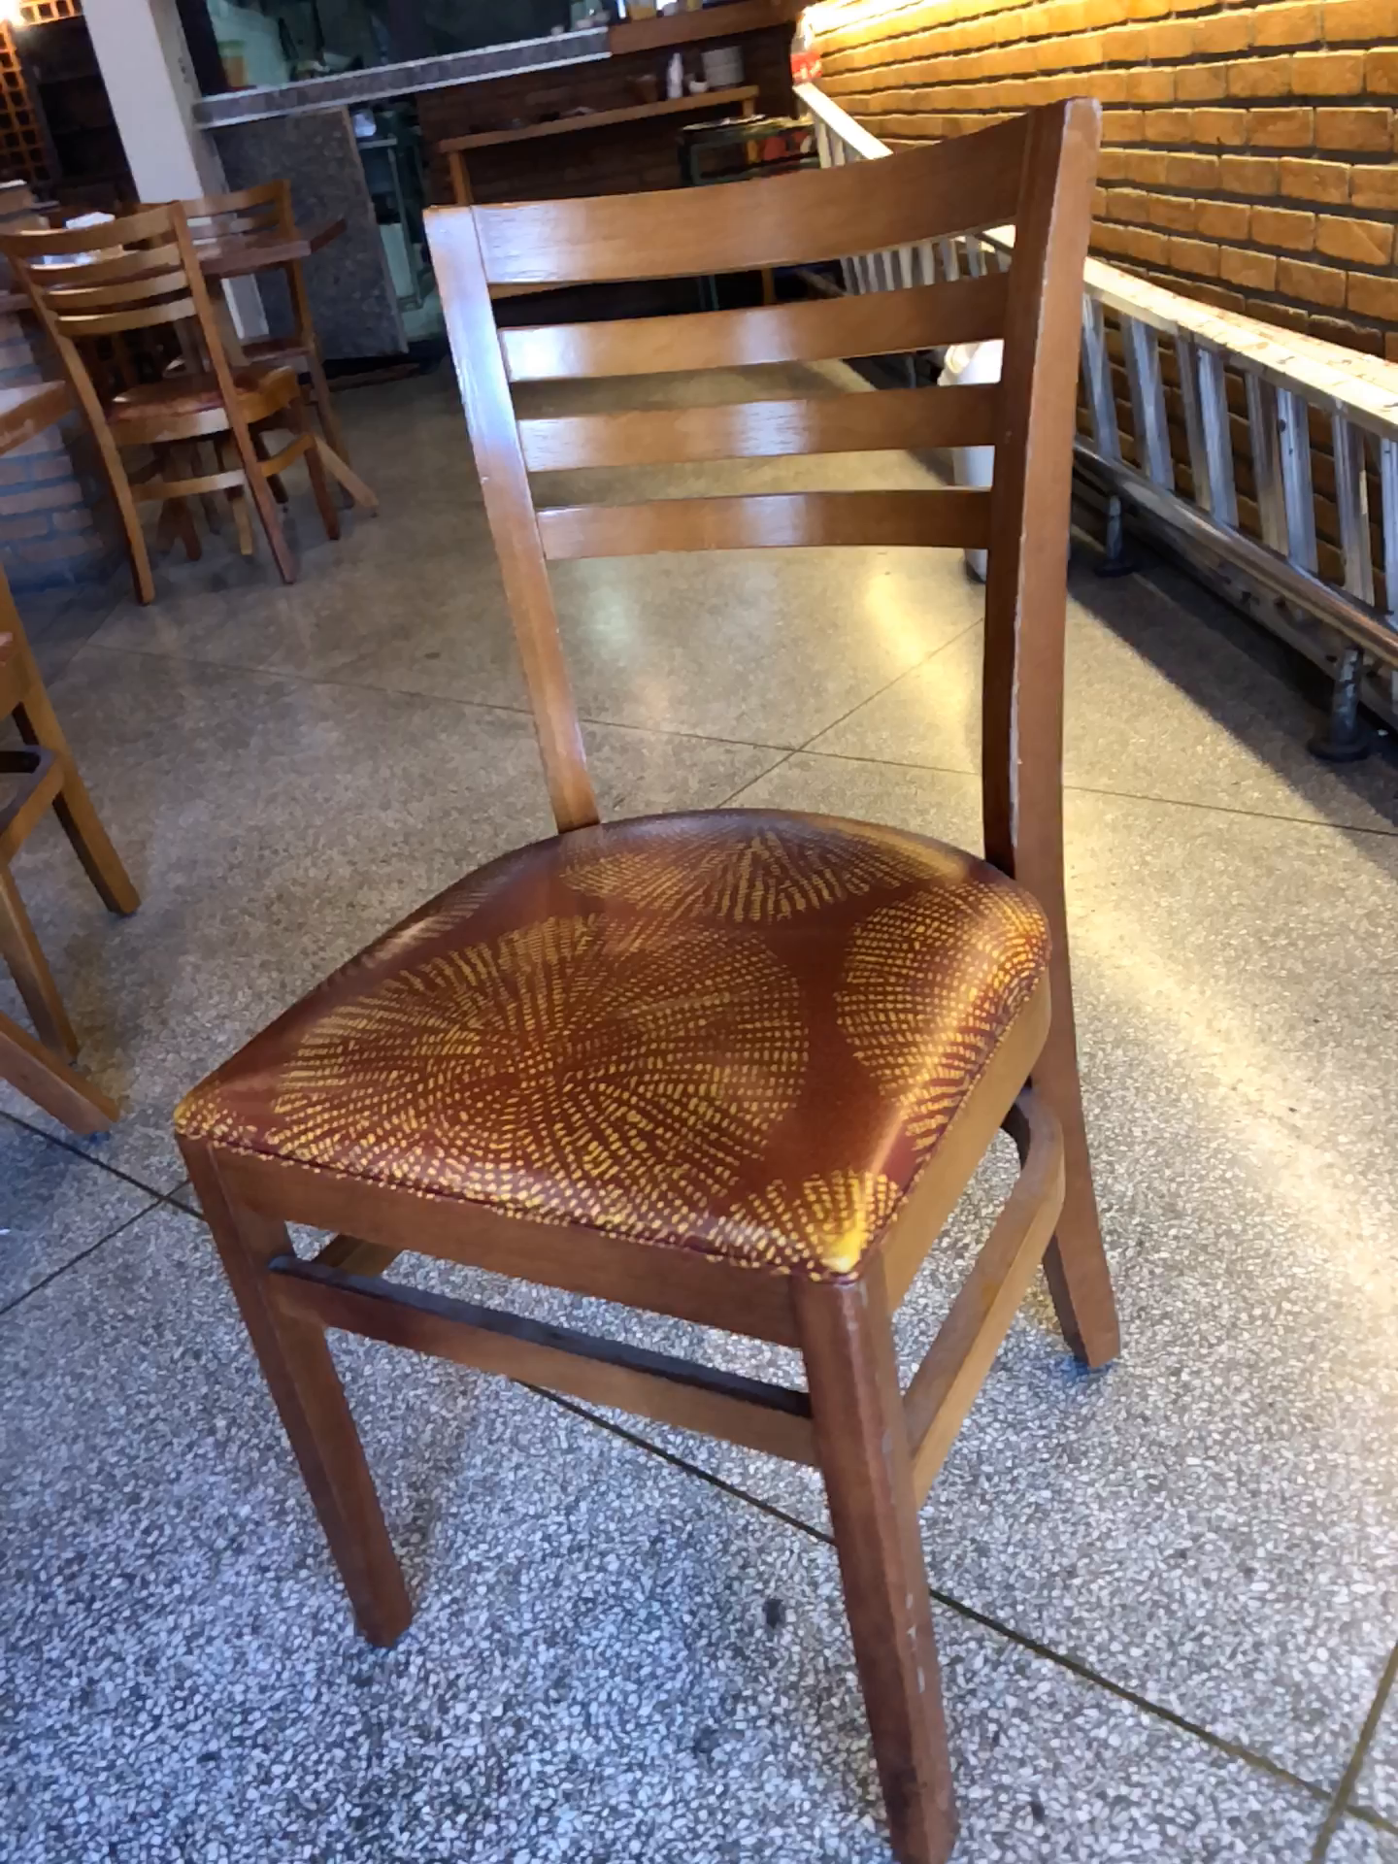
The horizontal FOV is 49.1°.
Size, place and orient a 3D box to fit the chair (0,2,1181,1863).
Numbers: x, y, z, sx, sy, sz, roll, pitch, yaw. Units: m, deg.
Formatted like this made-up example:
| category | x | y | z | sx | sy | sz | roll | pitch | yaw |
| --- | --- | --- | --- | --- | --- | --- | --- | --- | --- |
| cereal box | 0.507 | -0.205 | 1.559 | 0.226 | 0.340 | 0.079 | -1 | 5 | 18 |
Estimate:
| category | x | y | z | sx | sy | sz | roll | pitch | yaw |
| --- | --- | --- | --- | --- | --- | --- | --- | --- | --- |
| chair | -0.006 | -0.004 | 0.889 | 0.451 | 0.844 | 0.473 | 5 | 31 | 28 |
